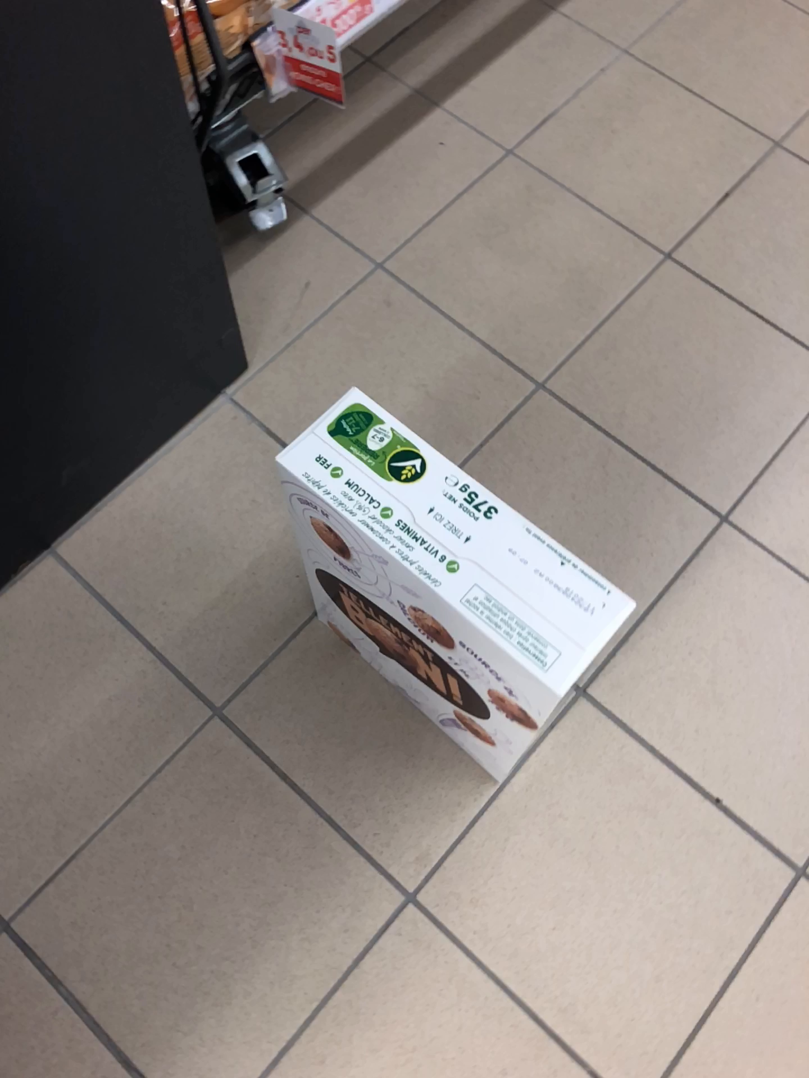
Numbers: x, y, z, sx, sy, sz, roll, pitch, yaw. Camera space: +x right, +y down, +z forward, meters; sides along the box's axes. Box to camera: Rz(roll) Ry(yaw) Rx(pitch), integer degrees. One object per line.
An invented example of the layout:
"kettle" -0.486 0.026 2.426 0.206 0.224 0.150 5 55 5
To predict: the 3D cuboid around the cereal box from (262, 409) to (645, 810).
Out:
"cereal box" 0.017 0.065 0.567 0.200 0.269 0.060 39 71 14
